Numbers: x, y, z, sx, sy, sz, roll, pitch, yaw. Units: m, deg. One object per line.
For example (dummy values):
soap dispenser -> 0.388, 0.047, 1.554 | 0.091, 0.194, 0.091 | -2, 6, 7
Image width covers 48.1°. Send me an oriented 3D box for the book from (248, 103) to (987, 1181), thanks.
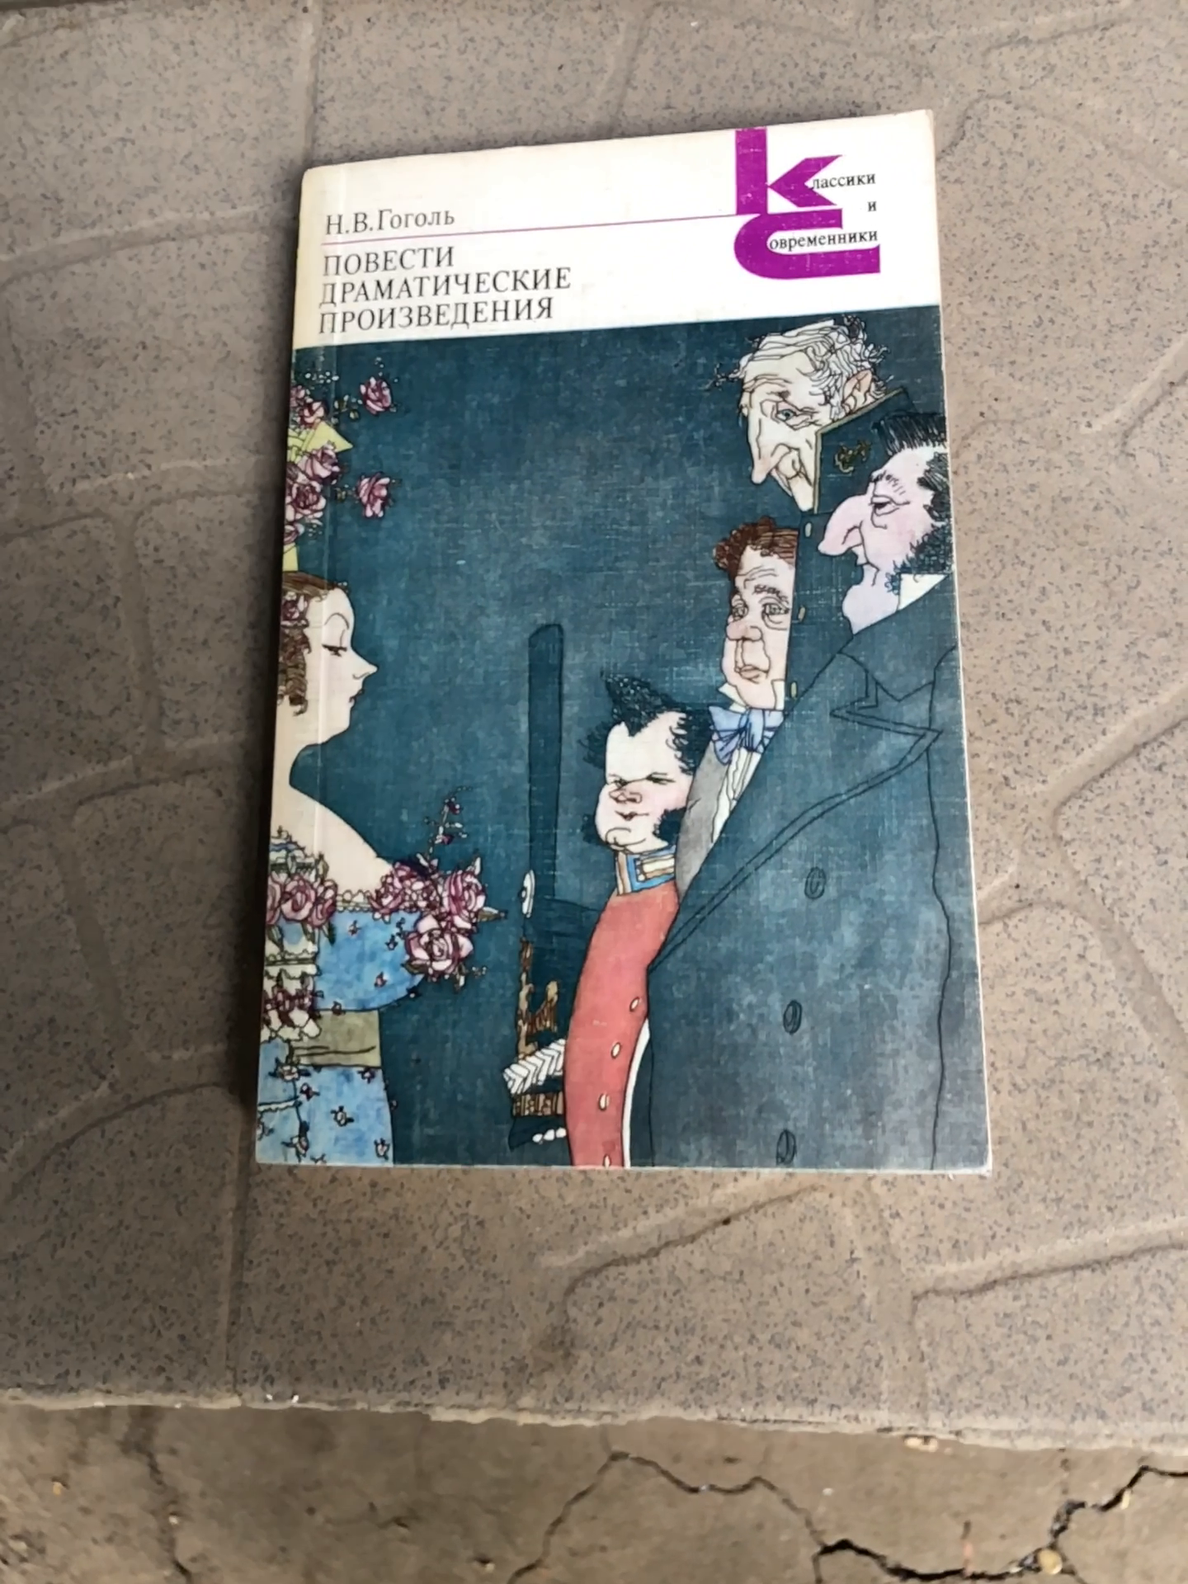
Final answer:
book -> 0.004, -0.030, 0.248 | 0.123, 0.021, 0.193 | -1, 79, 8
